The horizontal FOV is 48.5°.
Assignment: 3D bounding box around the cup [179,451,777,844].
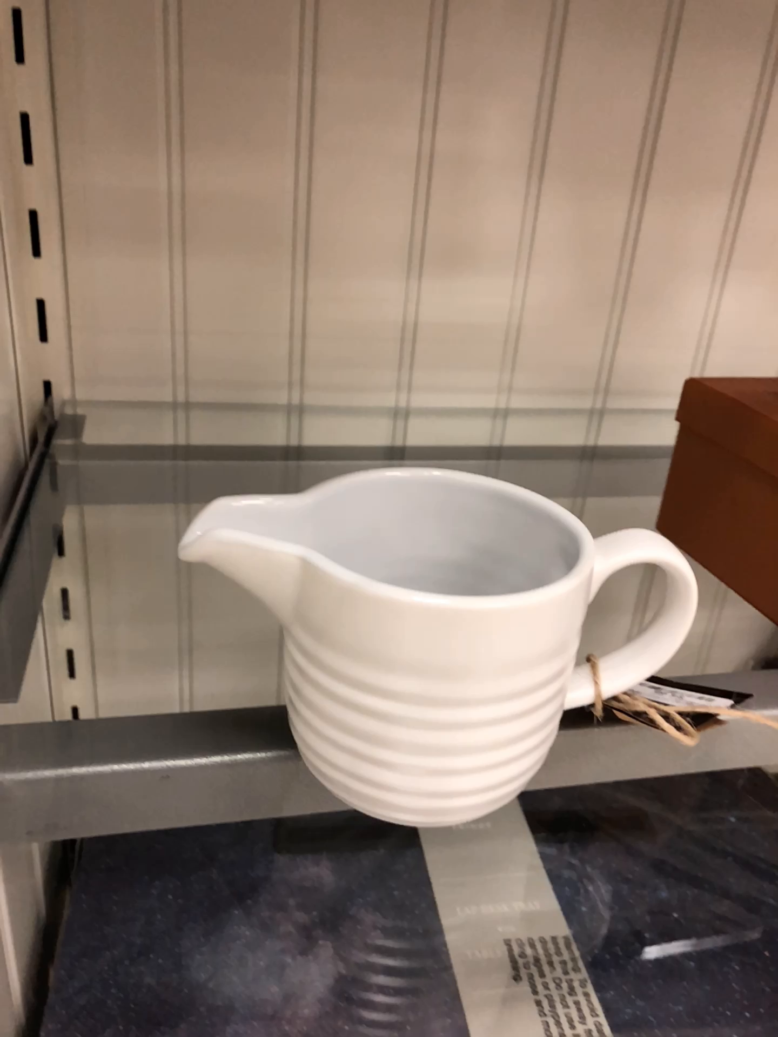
[{"bbox_3d":[0.018,0.029,0.231,0.140,0.069,0.071,0,26,-11],"label":"cup"}]
